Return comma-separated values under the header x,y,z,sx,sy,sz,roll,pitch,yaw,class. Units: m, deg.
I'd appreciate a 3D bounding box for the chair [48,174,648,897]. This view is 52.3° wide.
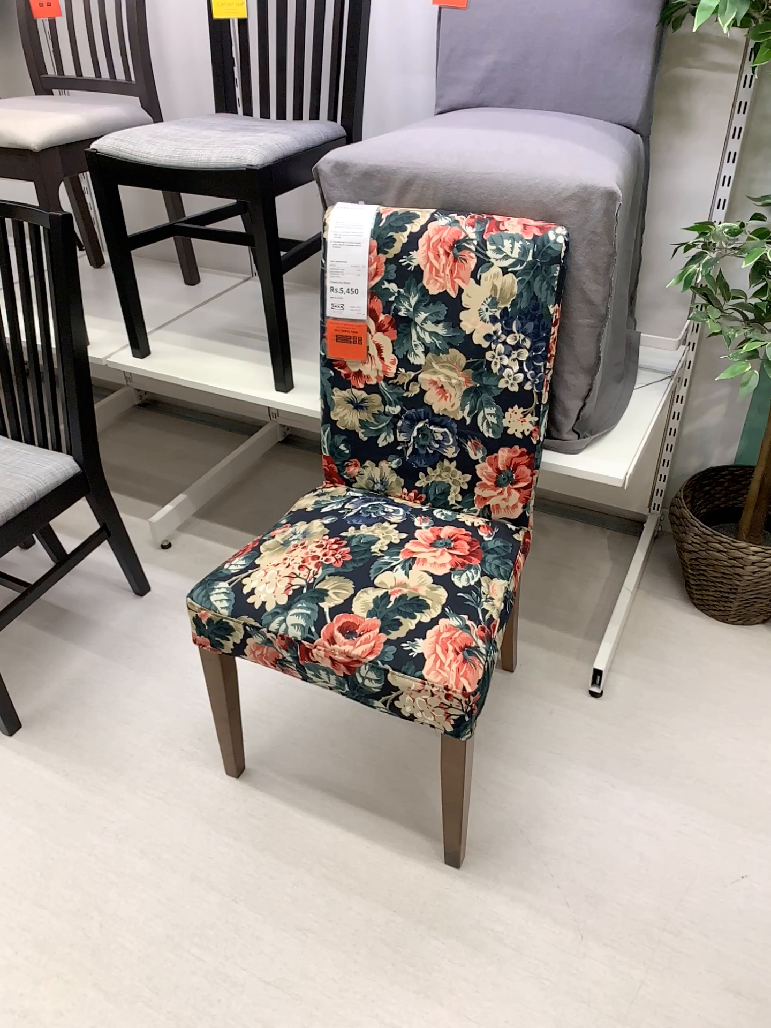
x,y,z,sx,sy,sz,roll,pitch,yaw,class
0.002,0.006,1.287,0.561,0.886,0.602,16,40,23,chair
